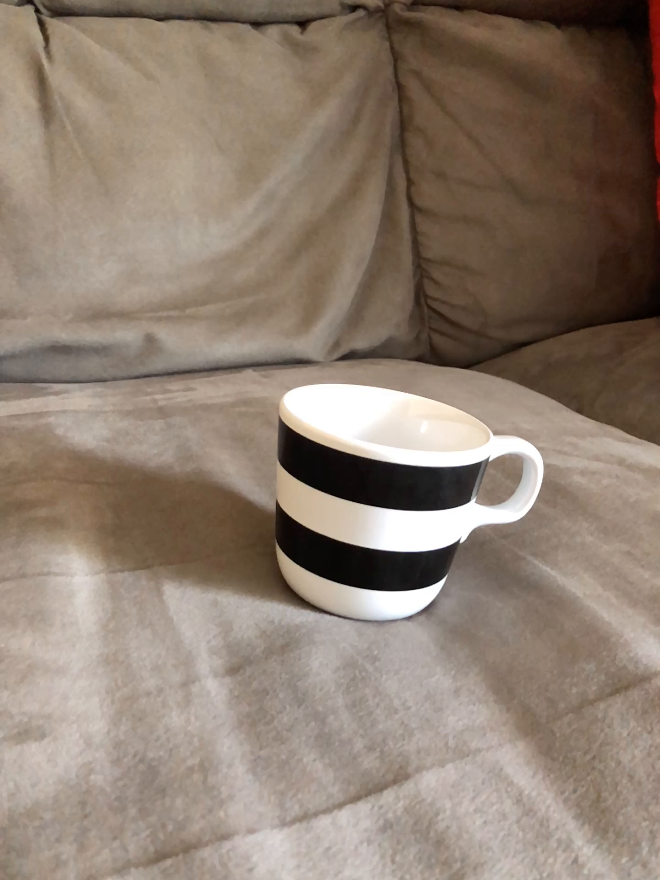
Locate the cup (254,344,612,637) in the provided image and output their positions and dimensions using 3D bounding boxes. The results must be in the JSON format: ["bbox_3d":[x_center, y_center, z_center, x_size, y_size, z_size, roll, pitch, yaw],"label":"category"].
[{"bbox_3d":[0.031,0.018,0.292,0.110,0.080,0.080,6,21,-11],"label":"cup"}]
